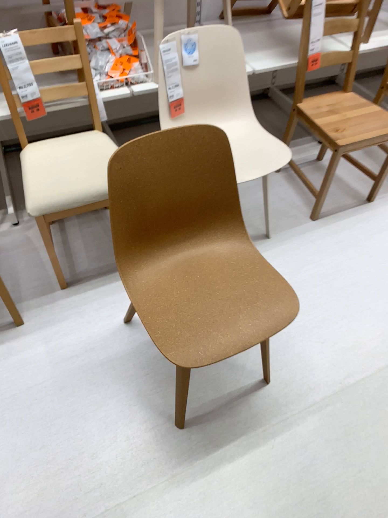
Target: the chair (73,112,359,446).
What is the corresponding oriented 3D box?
[{"bbox_3d":[0.005,0.080,1.223,0.460,0.757,0.562,-19,53,-19],"label":"chair"}]
